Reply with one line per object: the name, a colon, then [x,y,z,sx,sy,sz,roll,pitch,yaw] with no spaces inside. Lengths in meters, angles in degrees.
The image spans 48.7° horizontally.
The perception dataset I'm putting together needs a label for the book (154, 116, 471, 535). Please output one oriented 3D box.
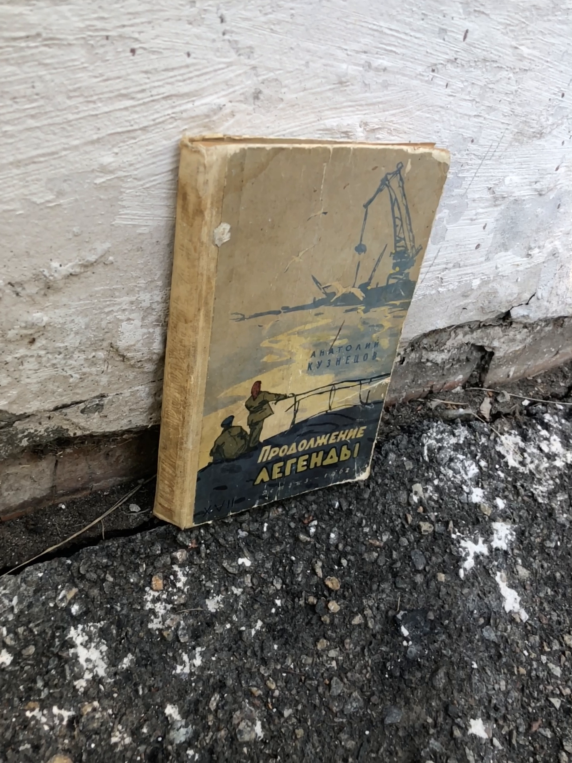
book: [0.009,-0.025,0.305,0.137,0.181,0.030,-11,34,-32]
